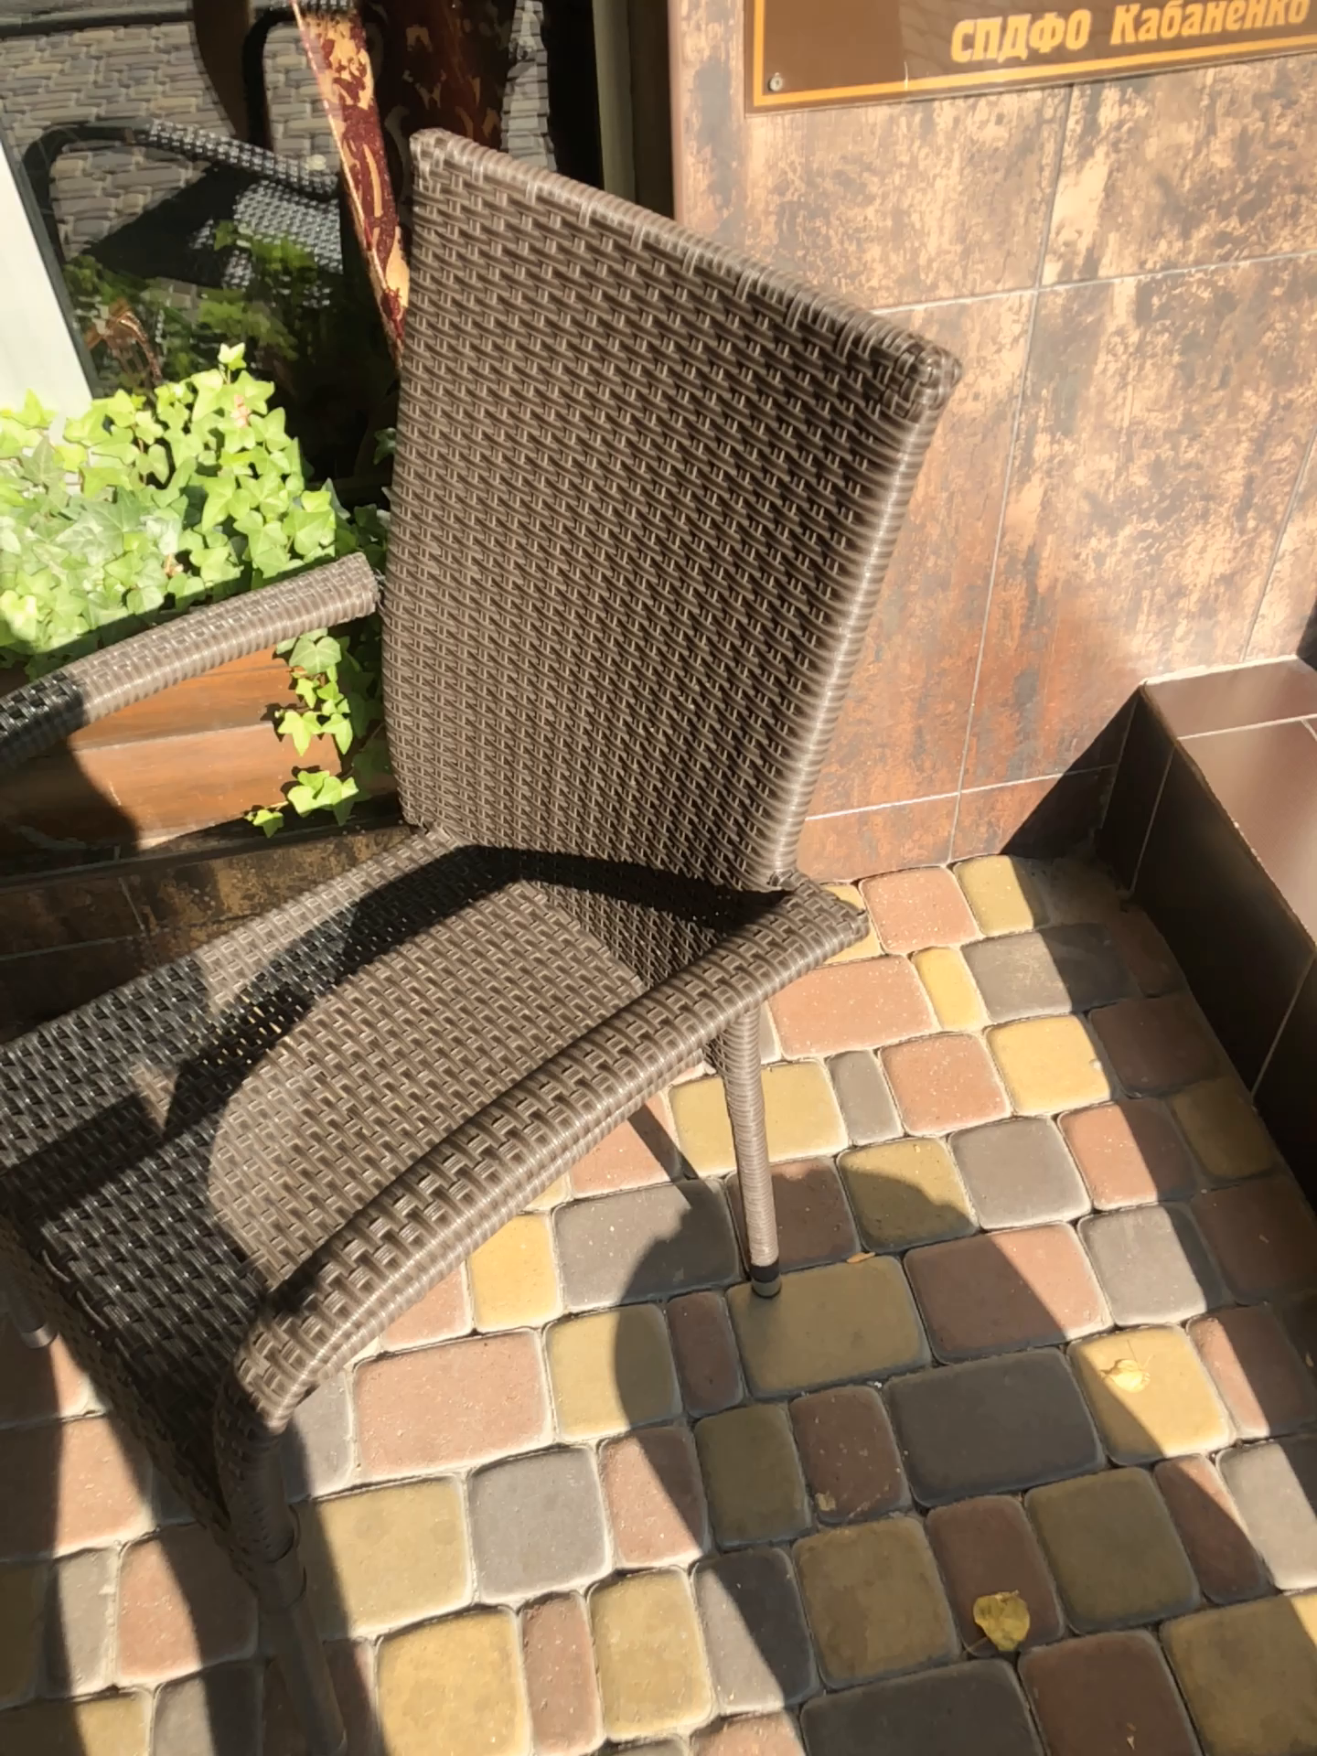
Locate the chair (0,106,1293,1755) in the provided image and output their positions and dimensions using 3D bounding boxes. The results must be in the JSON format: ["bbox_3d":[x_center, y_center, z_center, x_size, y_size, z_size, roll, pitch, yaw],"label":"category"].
[{"bbox_3d":[-0.140,0.092,1.056,0.721,0.906,0.611,-34,54,-27],"label":"chair"}]
